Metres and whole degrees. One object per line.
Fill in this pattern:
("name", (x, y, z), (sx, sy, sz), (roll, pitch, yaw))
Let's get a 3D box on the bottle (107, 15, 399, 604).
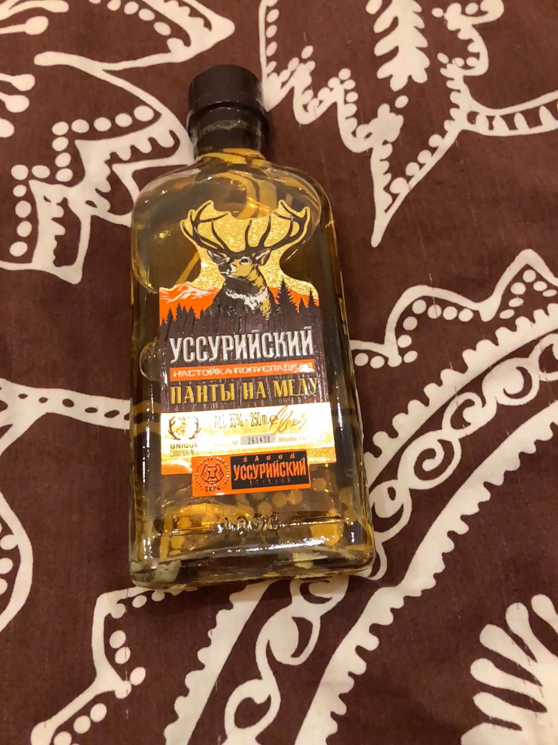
("bottle", (-0.013, -0.028, 0.208), (0.070, 0.050, 0.191), (-4, 68, -1))
